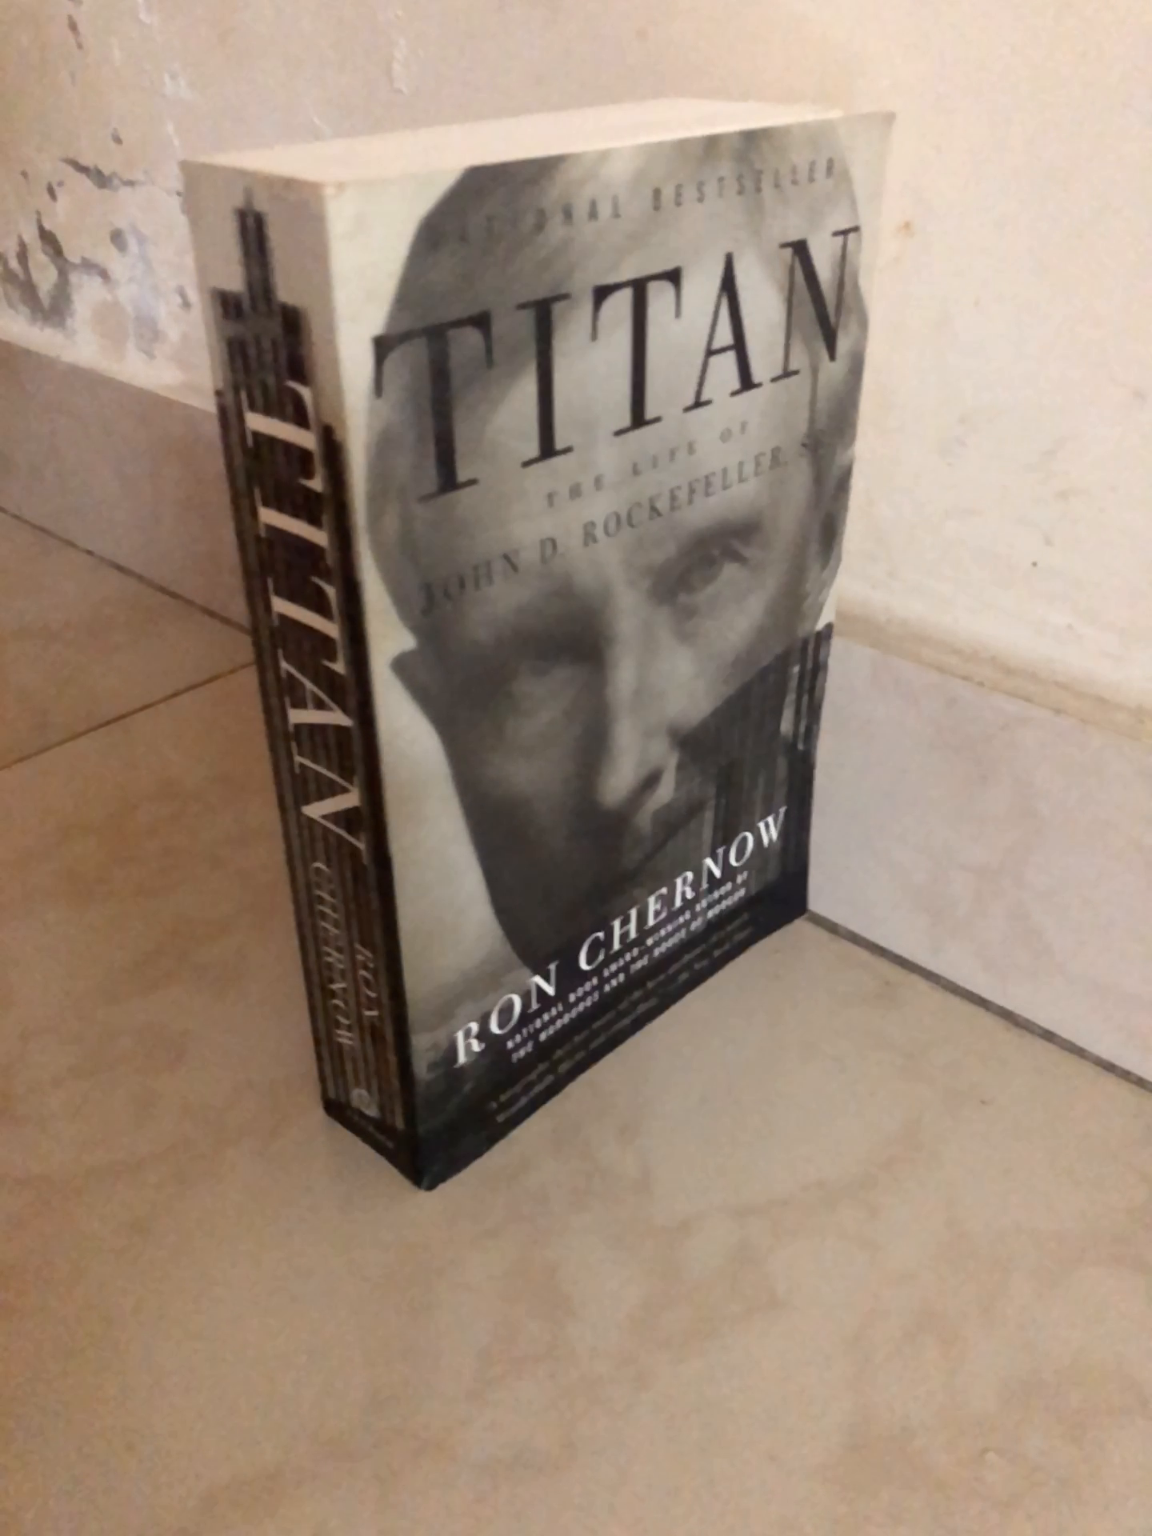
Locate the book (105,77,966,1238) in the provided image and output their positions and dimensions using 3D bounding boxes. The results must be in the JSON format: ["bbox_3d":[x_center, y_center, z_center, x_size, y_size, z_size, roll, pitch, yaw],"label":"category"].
[{"bbox_3d":[0.008,-0.038,0.323,0.060,0.229,0.201,23,39,33],"label":"book"}]
